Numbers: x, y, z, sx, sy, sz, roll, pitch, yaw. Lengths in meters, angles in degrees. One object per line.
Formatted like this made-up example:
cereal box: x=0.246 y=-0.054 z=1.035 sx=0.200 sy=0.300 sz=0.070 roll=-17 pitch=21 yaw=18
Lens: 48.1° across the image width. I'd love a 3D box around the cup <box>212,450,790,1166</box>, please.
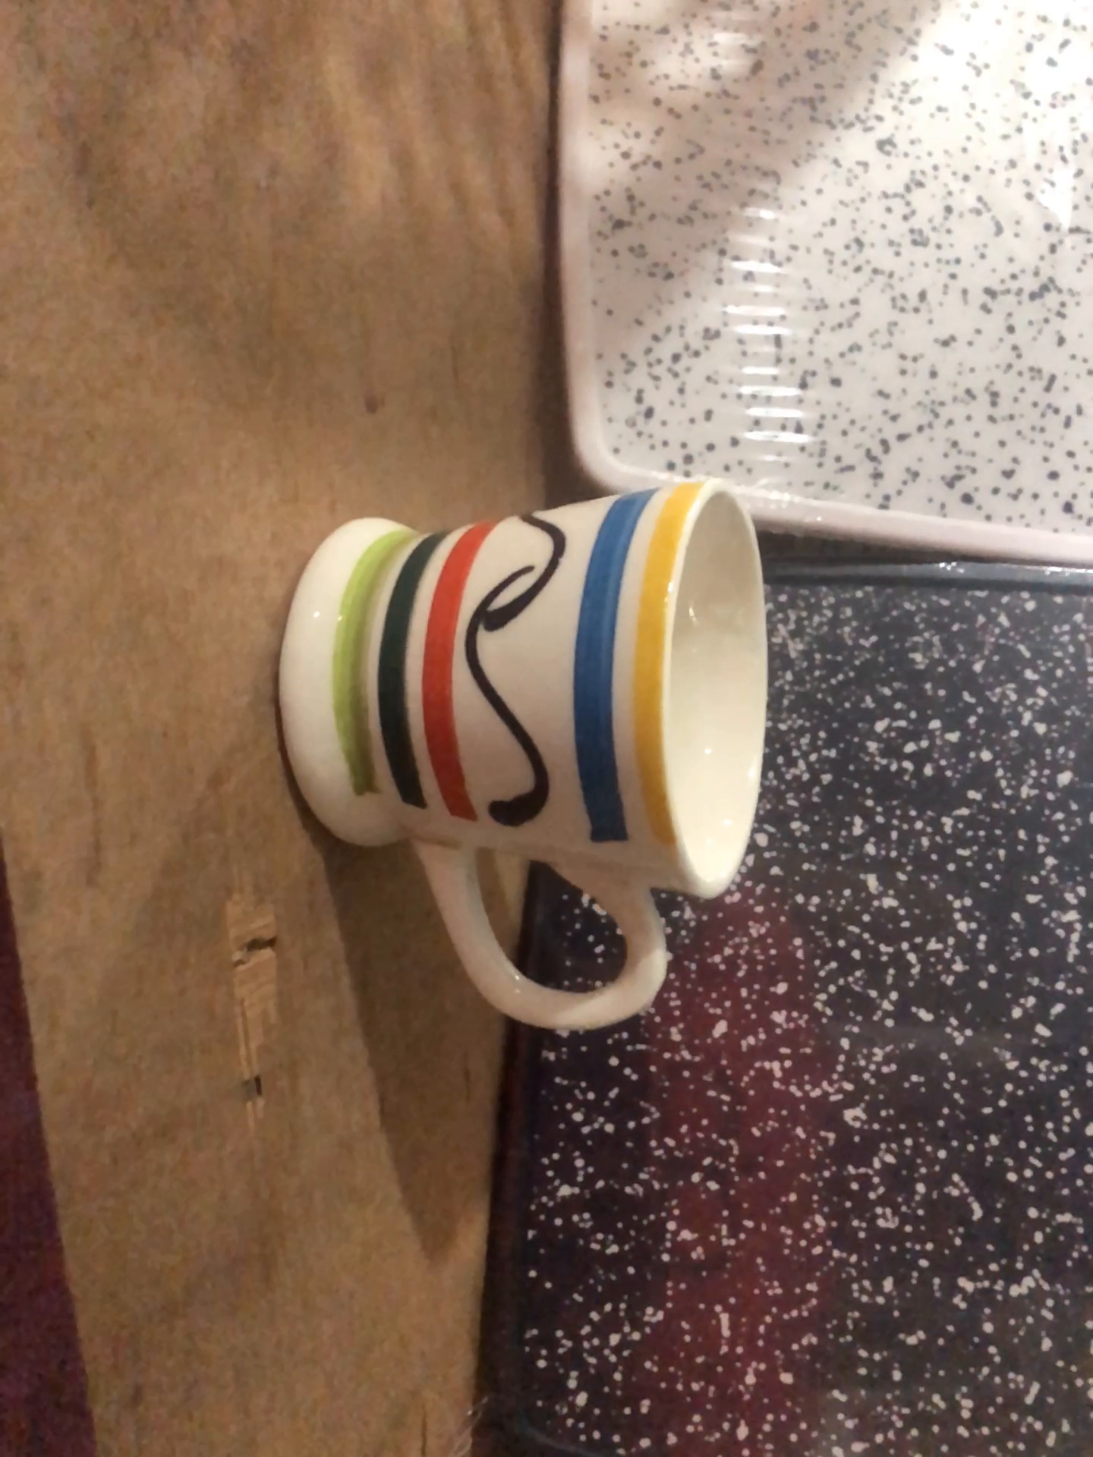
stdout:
cup: x=-0.004 y=0.009 z=0.212 sx=0.060 sy=0.079 sz=0.100 roll=-12 pitch=102 yaw=-67
